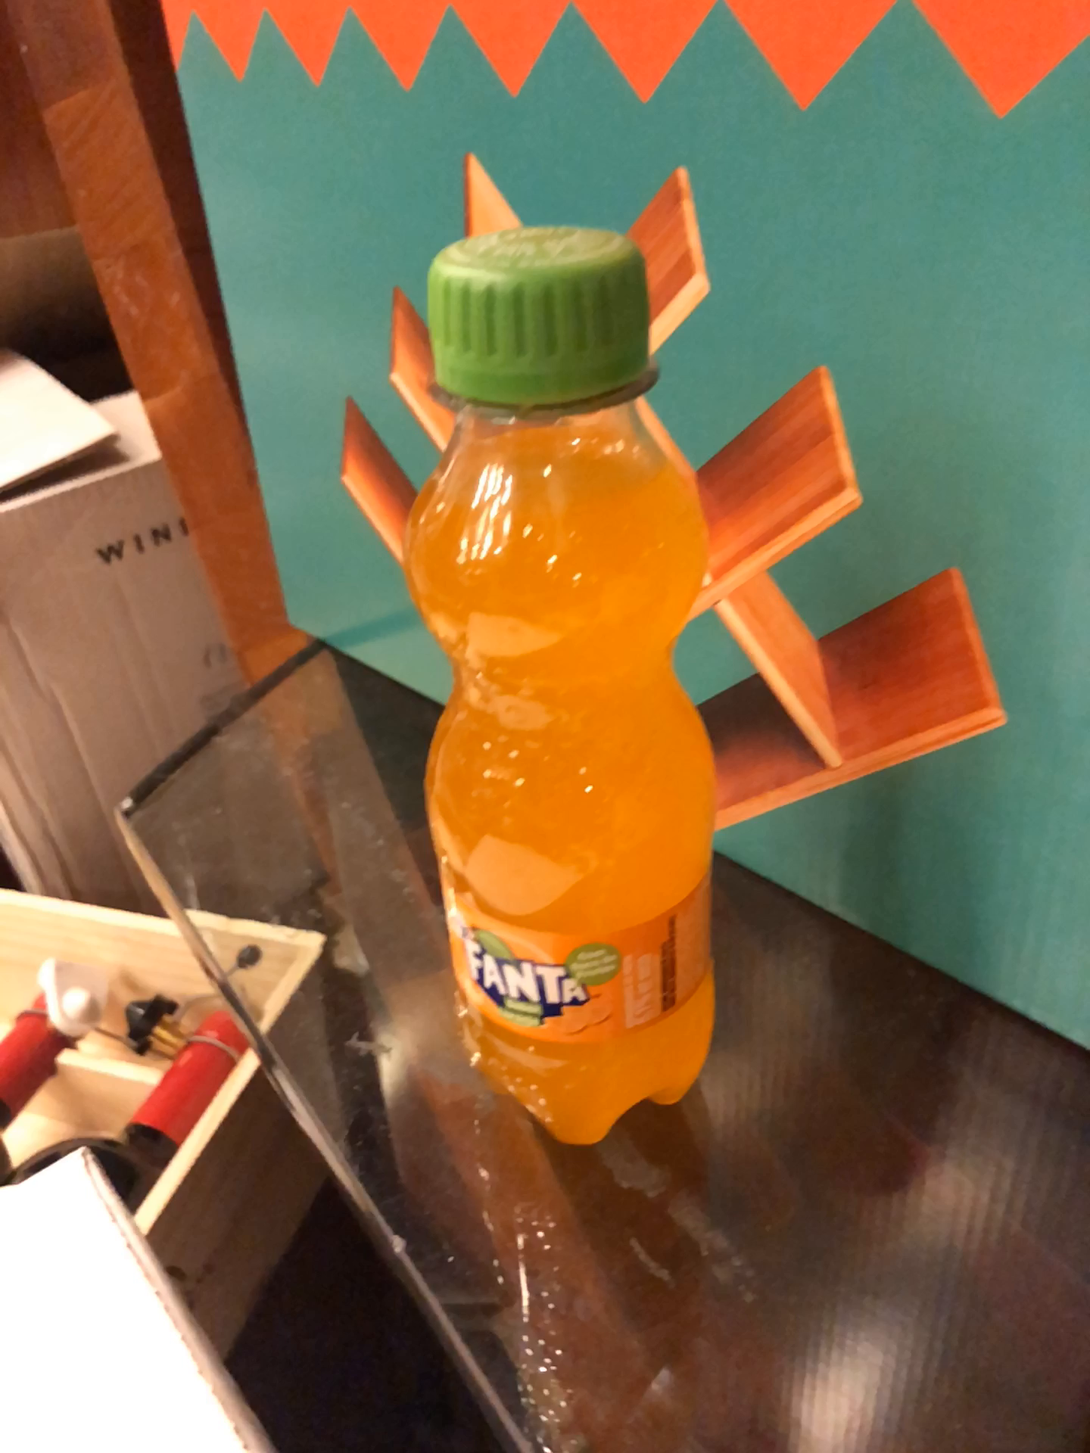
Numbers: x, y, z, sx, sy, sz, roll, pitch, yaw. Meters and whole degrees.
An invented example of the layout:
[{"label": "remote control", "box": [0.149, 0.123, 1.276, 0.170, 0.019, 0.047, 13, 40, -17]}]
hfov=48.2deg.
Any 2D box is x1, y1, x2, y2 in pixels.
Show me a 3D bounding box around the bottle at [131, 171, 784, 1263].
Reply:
[{"label": "bottle", "box": [-0.004, 0.001, 0.199, 0.060, 0.159, 0.060, -4, 32, 3]}]
